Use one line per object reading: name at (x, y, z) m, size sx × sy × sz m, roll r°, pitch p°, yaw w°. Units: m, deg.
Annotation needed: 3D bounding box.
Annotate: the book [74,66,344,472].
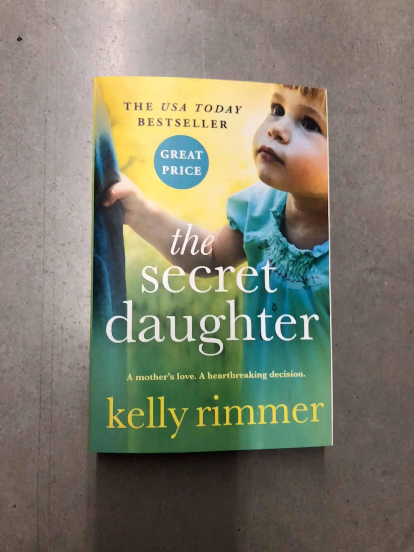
book at (0.002, -0.005, 0.259) m, size 0.140 × 0.030 × 0.210 m, roll 0°, pitch 86°, yaw -6°
